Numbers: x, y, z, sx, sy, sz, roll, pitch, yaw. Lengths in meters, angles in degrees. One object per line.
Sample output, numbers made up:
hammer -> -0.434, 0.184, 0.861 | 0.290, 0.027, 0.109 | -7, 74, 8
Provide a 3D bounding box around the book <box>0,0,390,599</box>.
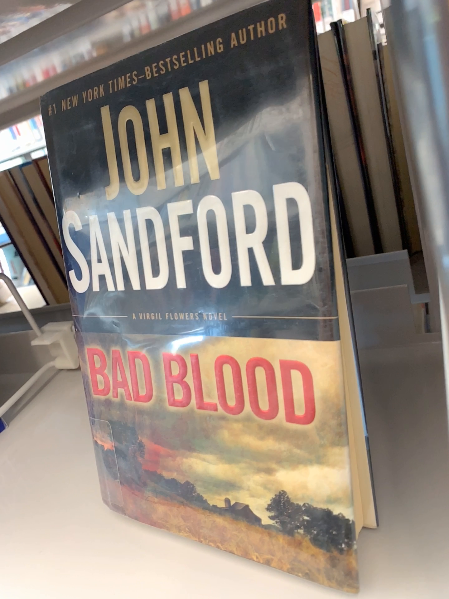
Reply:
book -> -0.024, 0.003, 0.223 | 0.166, 0.215, 0.050 | -3, 12, 36
